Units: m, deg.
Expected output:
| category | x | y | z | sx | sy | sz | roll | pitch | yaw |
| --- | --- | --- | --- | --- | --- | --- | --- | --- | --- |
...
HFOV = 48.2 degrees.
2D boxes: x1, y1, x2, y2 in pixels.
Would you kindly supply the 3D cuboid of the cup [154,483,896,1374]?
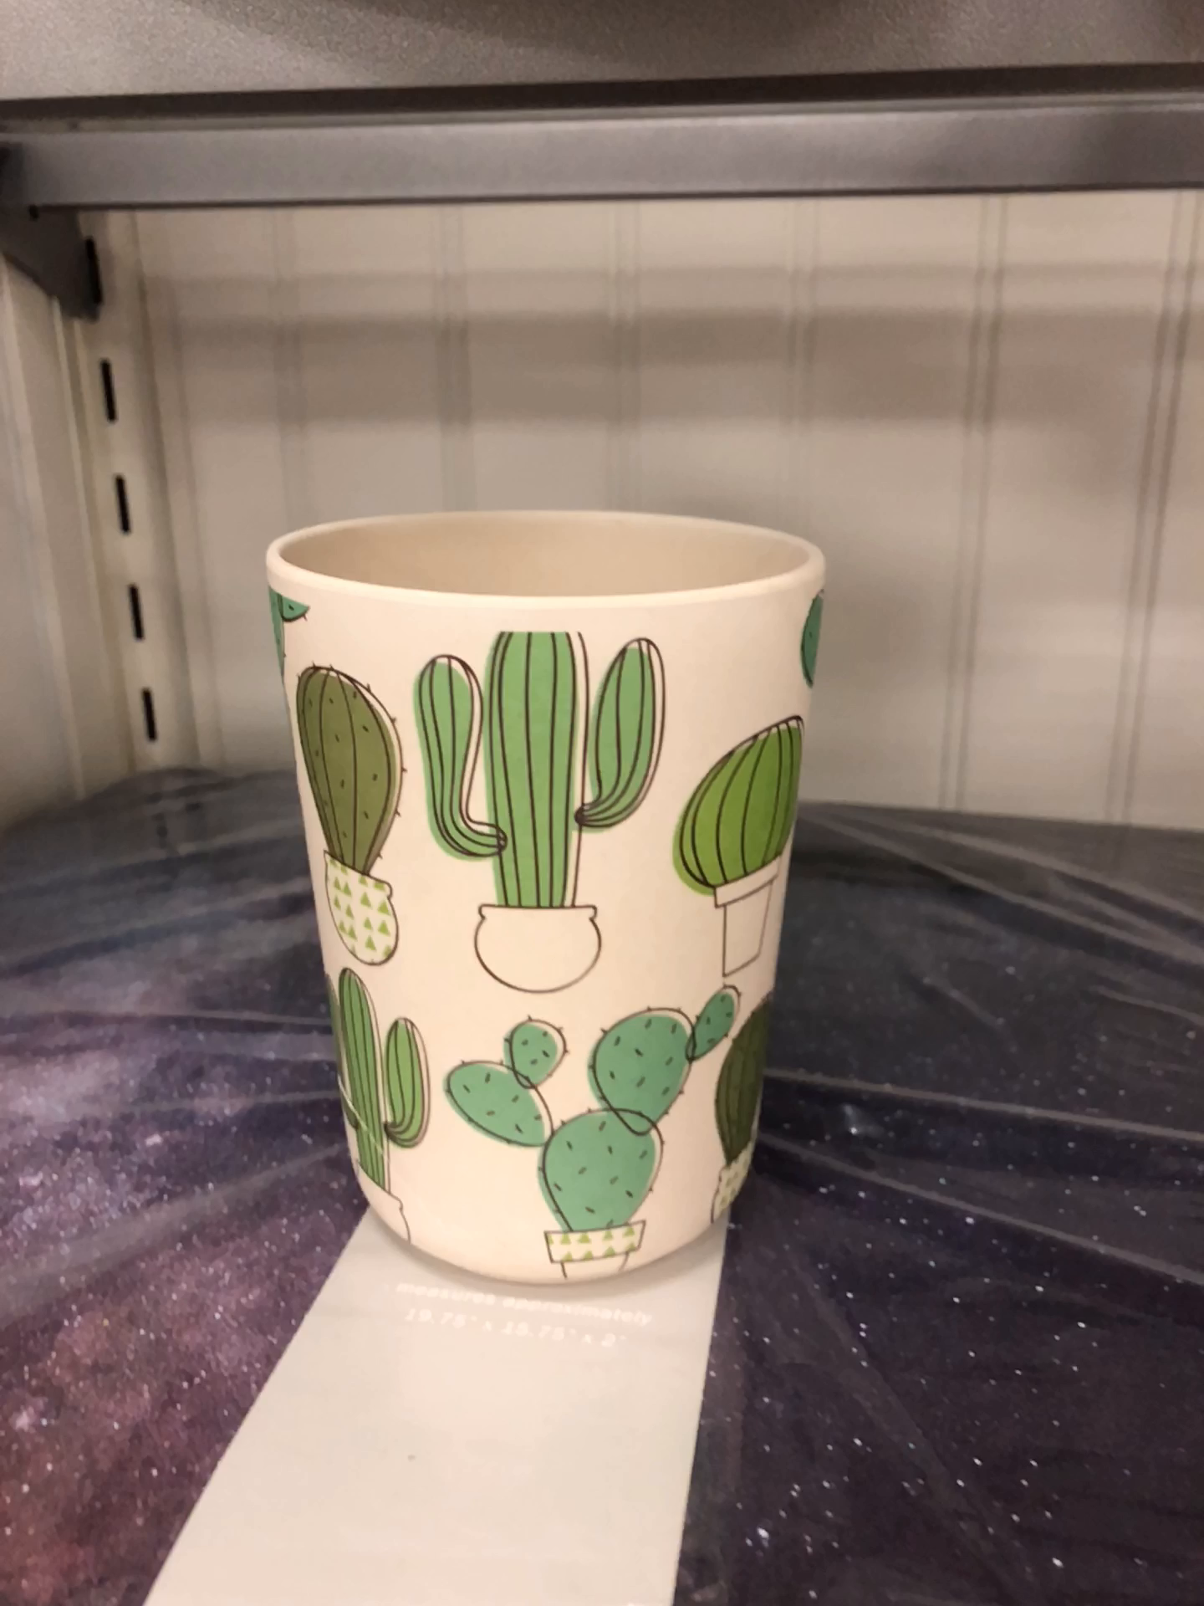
| category | x | y | z | sx | sy | sz | roll | pitch | yaw |
| --- | --- | --- | --- | --- | --- | --- | --- | --- | --- |
| cup | -0.008 | 0.012 | 0.259 | 0.100 | 0.129 | 0.090 | 8 | 22 | 24 |
